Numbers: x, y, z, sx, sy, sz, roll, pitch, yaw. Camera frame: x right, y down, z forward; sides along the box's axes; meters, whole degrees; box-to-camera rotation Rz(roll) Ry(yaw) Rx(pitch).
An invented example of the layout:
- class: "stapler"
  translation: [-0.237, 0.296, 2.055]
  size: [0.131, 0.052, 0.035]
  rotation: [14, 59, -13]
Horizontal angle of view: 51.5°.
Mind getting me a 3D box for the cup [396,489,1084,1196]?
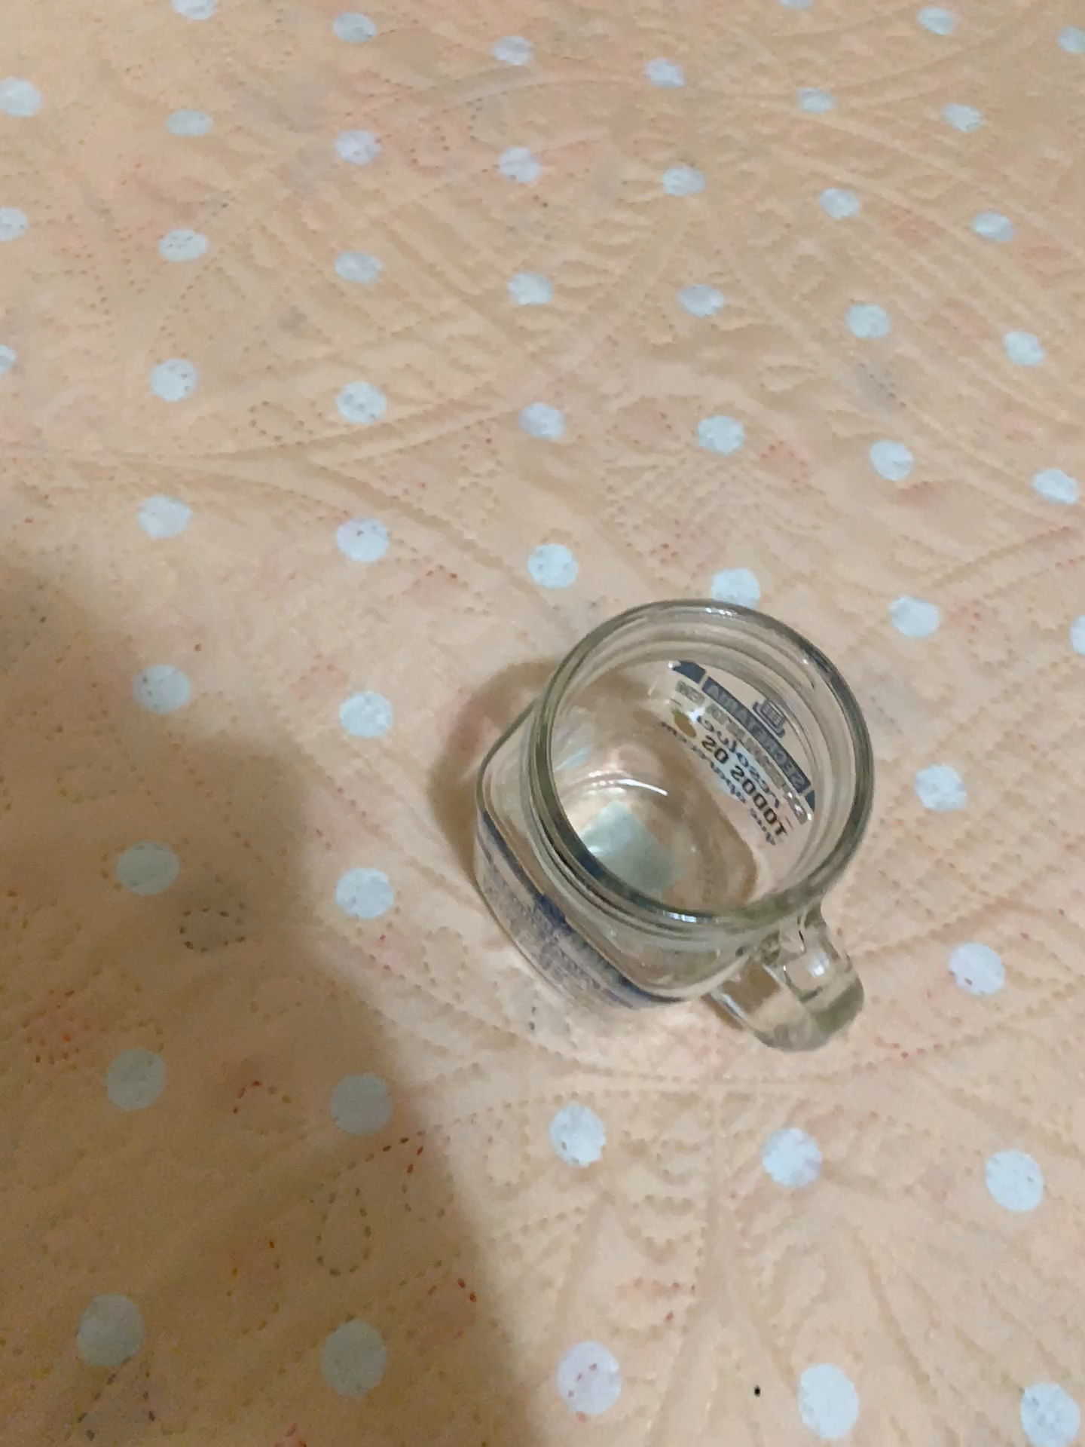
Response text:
- class: "cup"
  translation: [0.030, 0.035, 0.253]
  size: [0.080, 0.120, 0.100]
  rotation: [-34, 76, -17]
